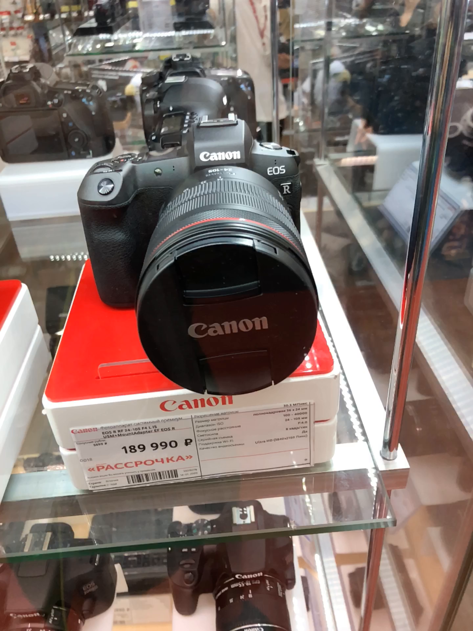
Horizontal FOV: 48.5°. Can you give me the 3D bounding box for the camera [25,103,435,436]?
[{"bbox_3d":[-0.006,-0.042,0.285,0.144,0.093,0.181,-5,34,-2],"label":"camera"}]
